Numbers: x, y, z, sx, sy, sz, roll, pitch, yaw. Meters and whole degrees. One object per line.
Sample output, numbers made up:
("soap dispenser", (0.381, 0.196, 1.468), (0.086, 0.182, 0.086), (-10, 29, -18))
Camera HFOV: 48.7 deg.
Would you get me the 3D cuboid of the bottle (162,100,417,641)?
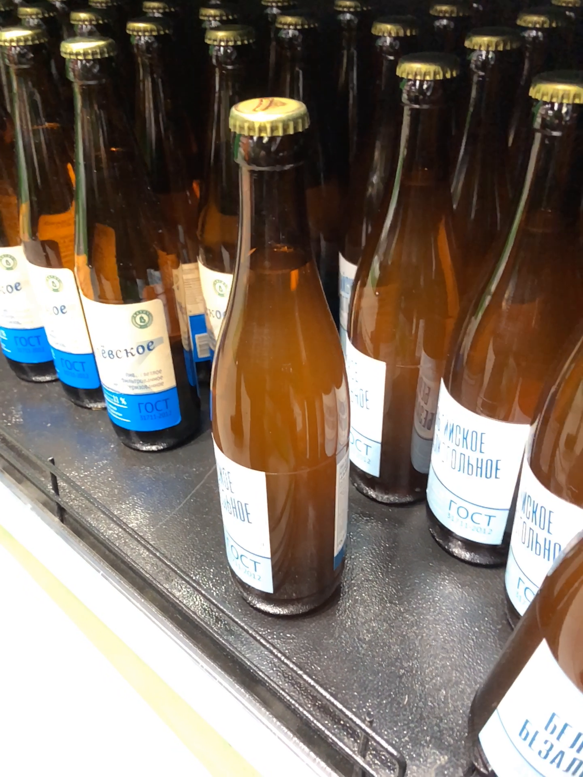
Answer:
("bottle", (-0.001, 0.009, 0.309), (0.080, 0.254, 0.080), (-1, 37, 1))
